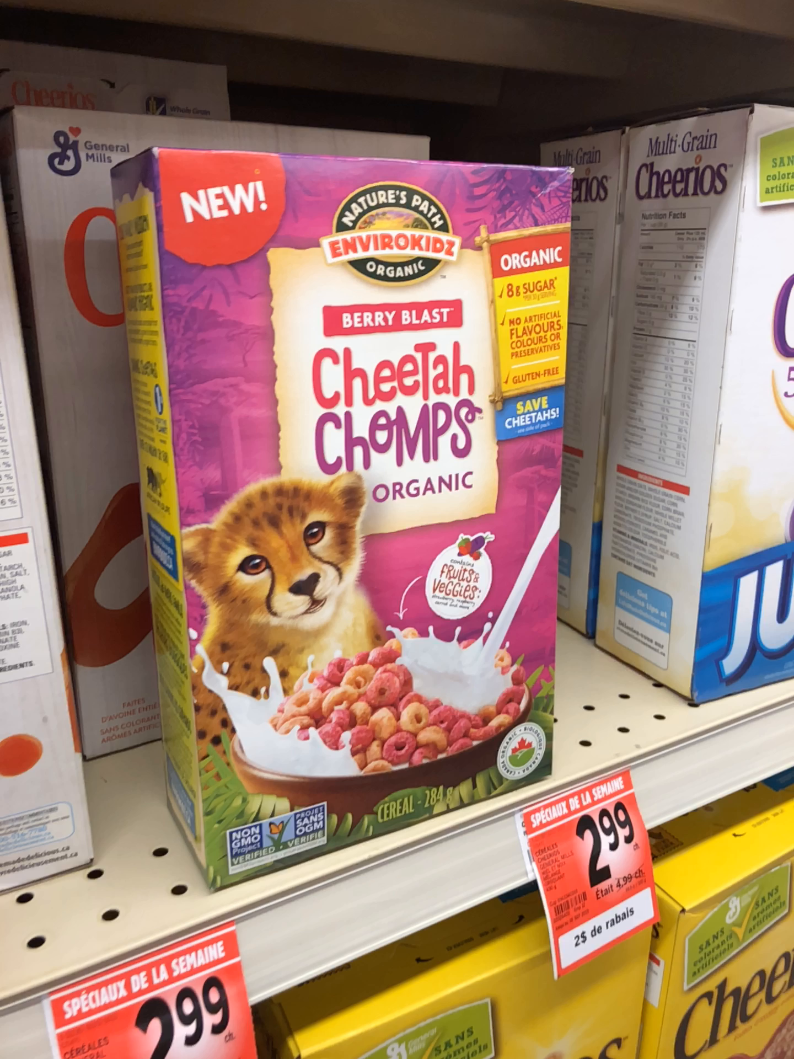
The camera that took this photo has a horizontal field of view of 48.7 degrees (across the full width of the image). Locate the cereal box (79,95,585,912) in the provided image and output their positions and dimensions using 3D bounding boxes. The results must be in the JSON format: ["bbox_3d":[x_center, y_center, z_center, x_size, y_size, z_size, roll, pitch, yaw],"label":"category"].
[{"bbox_3d":[-0.019,-0.012,0.336,0.160,0.259,0.070,-9,17,-26],"label":"cereal box"}]
